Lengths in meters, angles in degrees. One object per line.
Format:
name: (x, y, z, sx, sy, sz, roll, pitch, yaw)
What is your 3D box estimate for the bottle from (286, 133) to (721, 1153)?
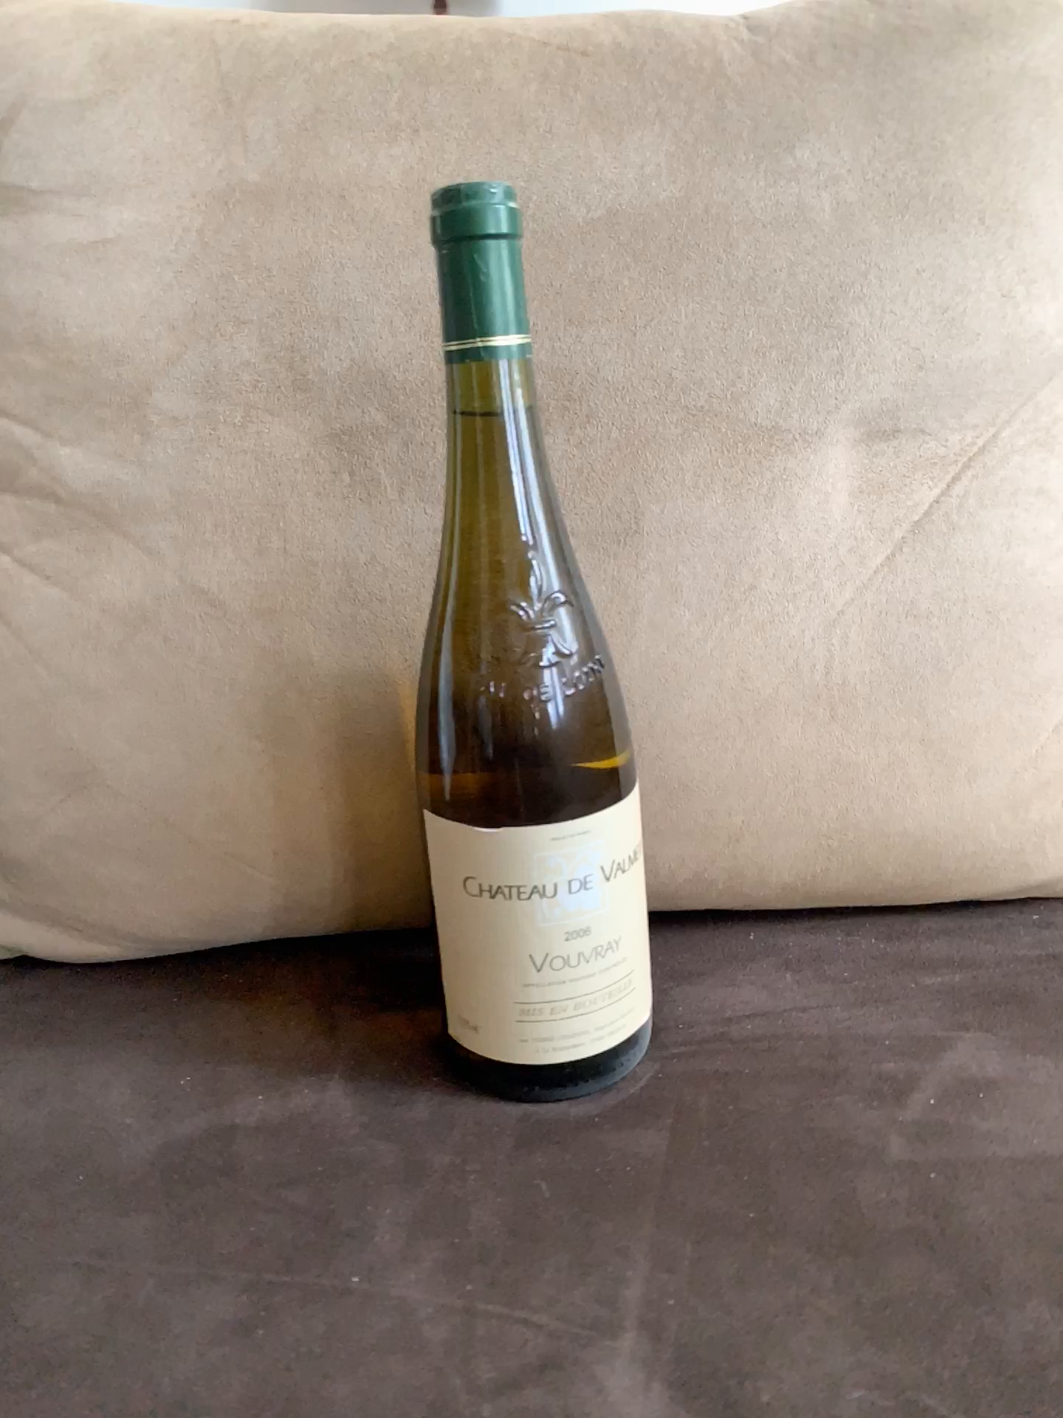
bottle: (-0.004, -0.016, 0.371, 0.100, 0.308, 0.090, -11, 23, -19)
